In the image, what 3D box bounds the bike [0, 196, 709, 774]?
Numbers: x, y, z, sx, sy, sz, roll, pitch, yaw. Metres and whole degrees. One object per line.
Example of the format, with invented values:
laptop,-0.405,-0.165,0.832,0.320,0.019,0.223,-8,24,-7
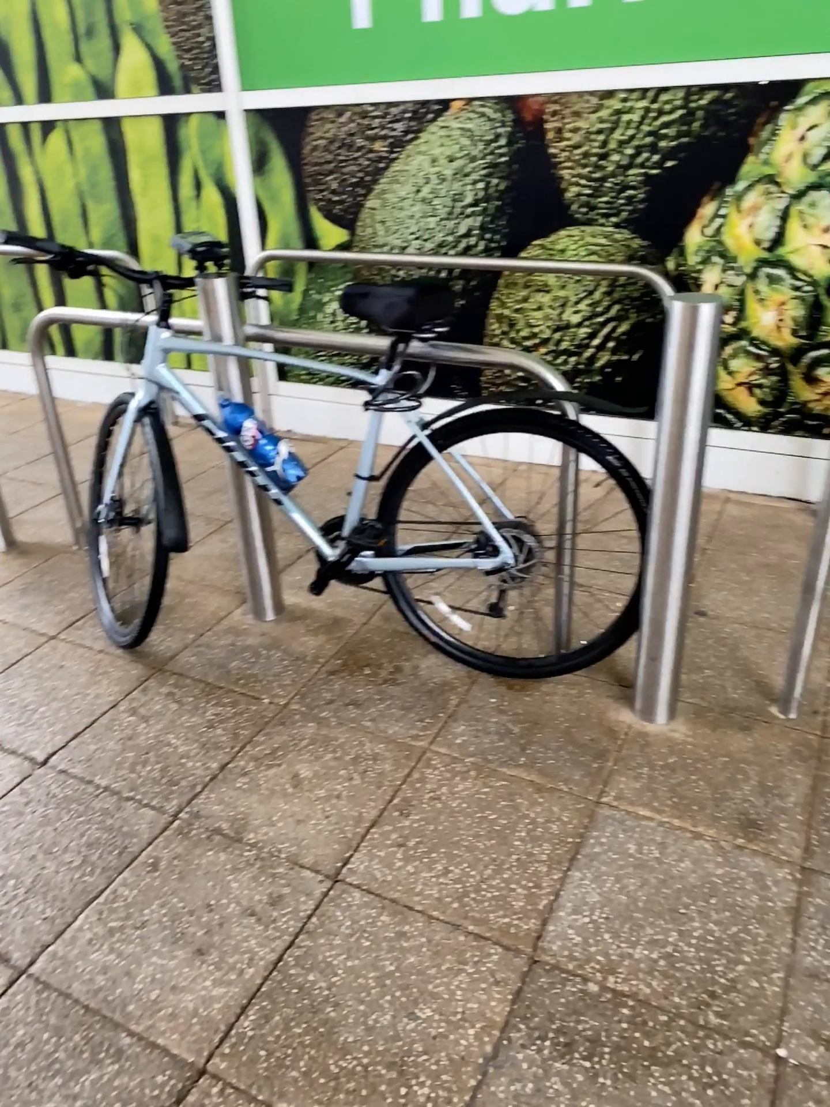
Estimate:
bike,-0.163,-0.245,1.880,1.462,0.962,0.609,8,29,19
